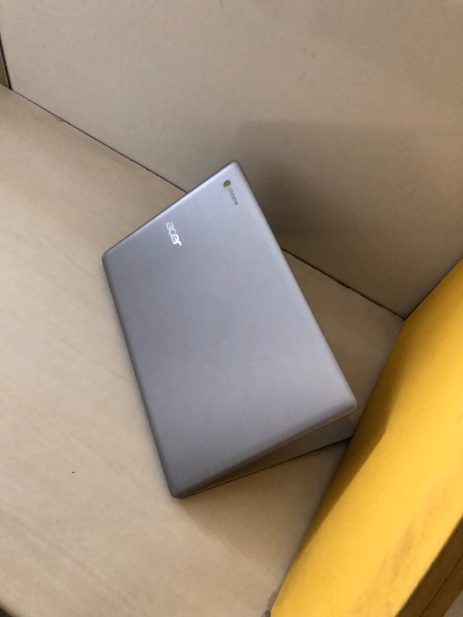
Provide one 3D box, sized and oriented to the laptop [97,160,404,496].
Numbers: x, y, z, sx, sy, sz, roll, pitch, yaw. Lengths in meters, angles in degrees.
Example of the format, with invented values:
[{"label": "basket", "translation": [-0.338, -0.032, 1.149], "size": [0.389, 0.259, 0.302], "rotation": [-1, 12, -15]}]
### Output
[{"label": "laptop", "translation": [-0.002, 0.009, 0.584], "size": [0.221, 0.135, 0.316], "rotation": [-14, 64, -17]}]
